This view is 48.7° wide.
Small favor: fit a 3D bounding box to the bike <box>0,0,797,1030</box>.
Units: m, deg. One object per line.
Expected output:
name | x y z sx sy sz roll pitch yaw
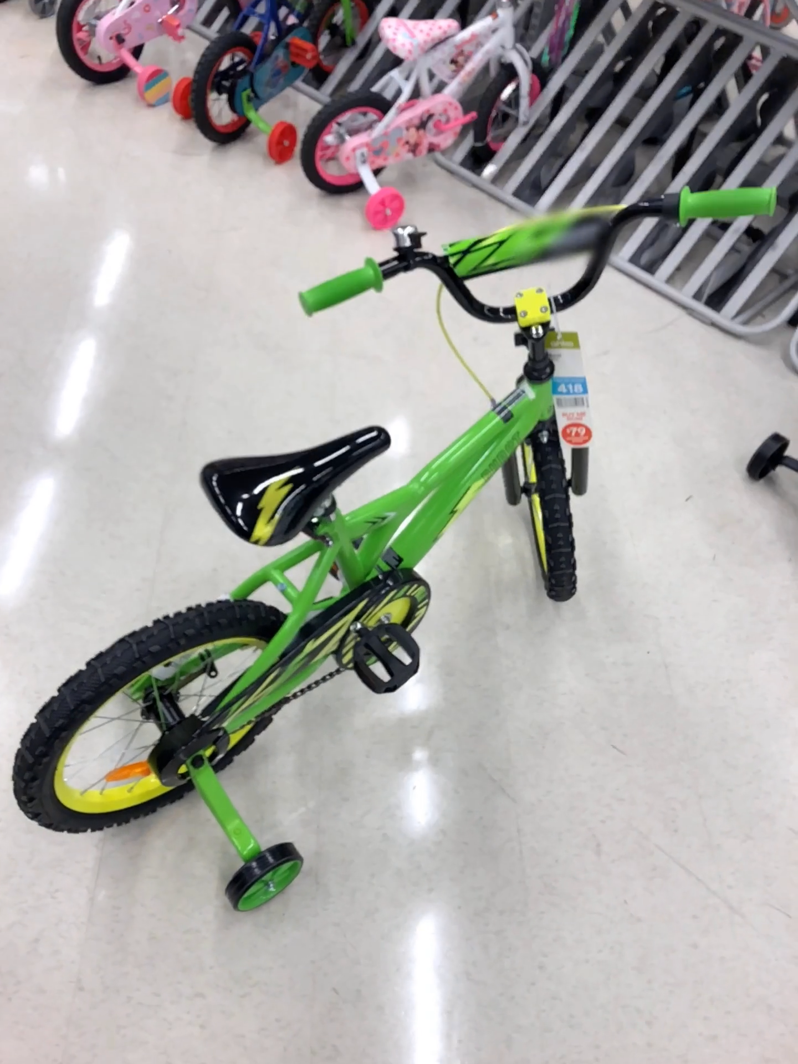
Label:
bike | -0.070 -0.145 1.132 0.553 0.806 1.047 38 60 22
